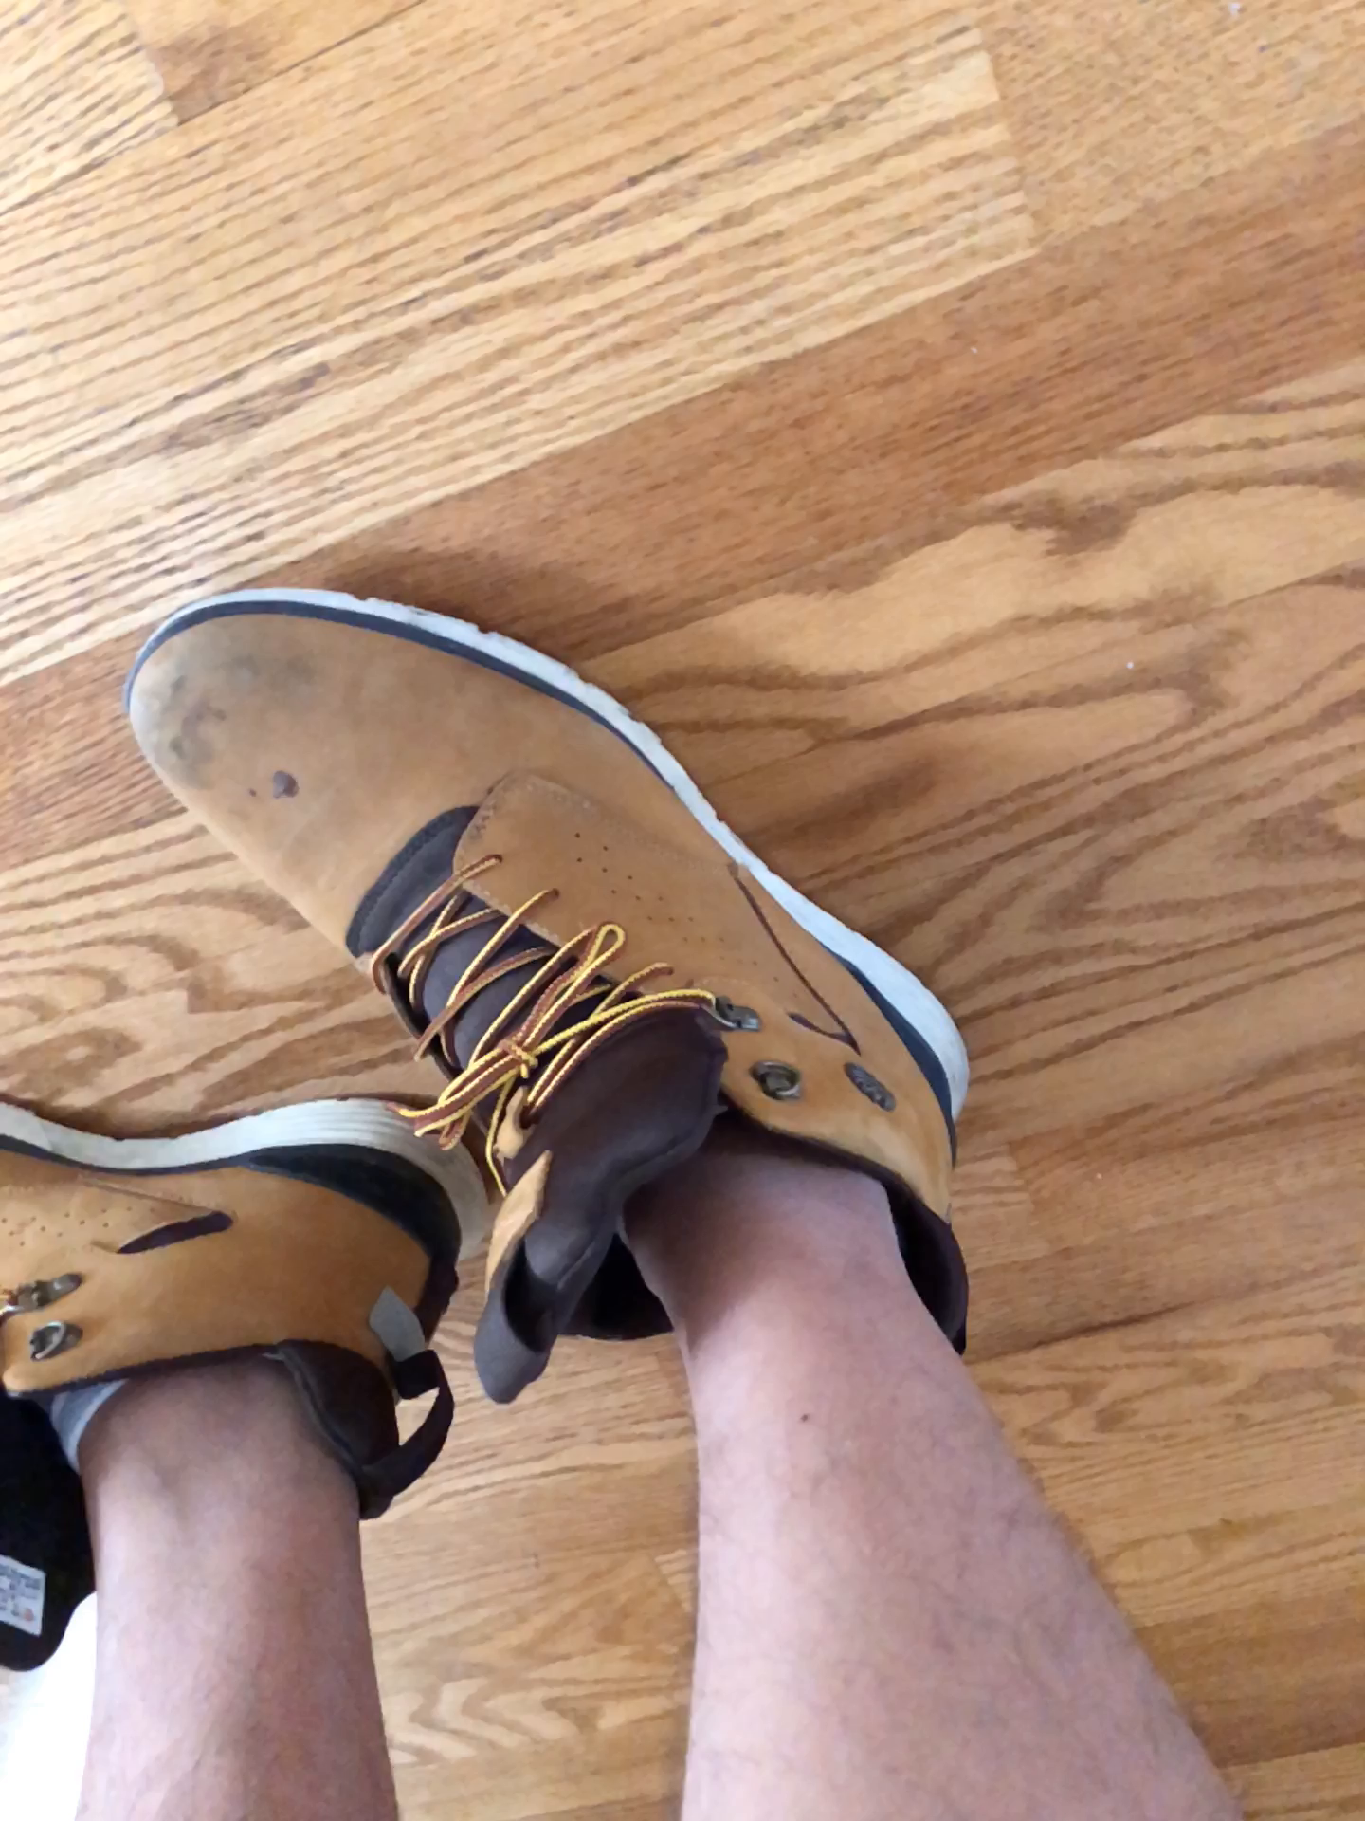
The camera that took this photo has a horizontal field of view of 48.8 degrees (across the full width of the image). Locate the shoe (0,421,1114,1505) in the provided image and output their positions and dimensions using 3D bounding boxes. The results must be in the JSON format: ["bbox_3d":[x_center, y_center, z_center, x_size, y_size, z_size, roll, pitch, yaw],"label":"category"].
[{"bbox_3d":[-0.051,0.023,0.438,0.300,0.169,0.130,28,120,-24],"label":"shoe"}]

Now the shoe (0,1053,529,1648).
[{"bbox_3d":[-0.240,0.150,0.559,0.320,0.140,0.130,0,119,14],"label":"shoe"}]
